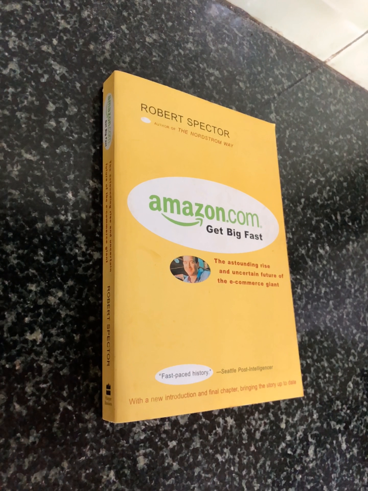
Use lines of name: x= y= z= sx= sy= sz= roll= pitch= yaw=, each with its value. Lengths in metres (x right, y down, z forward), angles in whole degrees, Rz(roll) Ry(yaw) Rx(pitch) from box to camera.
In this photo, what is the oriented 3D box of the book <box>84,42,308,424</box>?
book: x=0.009 y=-0.008 z=0.268 sx=0.141 sy=0.030 sz=0.210 roll=7 pitch=73 yaw=-33
